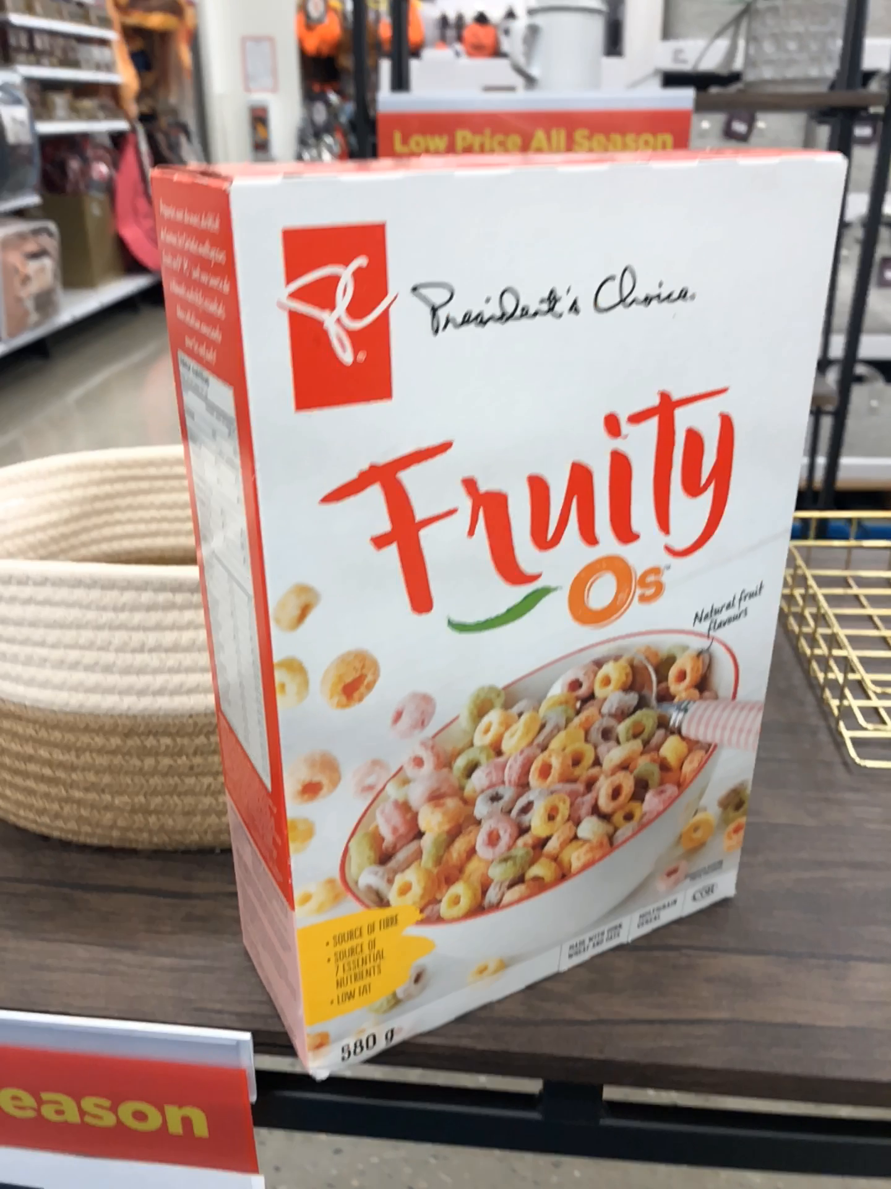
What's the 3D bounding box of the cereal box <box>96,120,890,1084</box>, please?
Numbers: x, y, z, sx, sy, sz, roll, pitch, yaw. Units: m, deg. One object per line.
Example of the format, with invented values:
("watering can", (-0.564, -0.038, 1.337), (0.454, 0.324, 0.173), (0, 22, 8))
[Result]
("cereal box", (0.023, -0.007, 0.341), (0.220, 0.279, 0.080), (-13, 28, -25))
